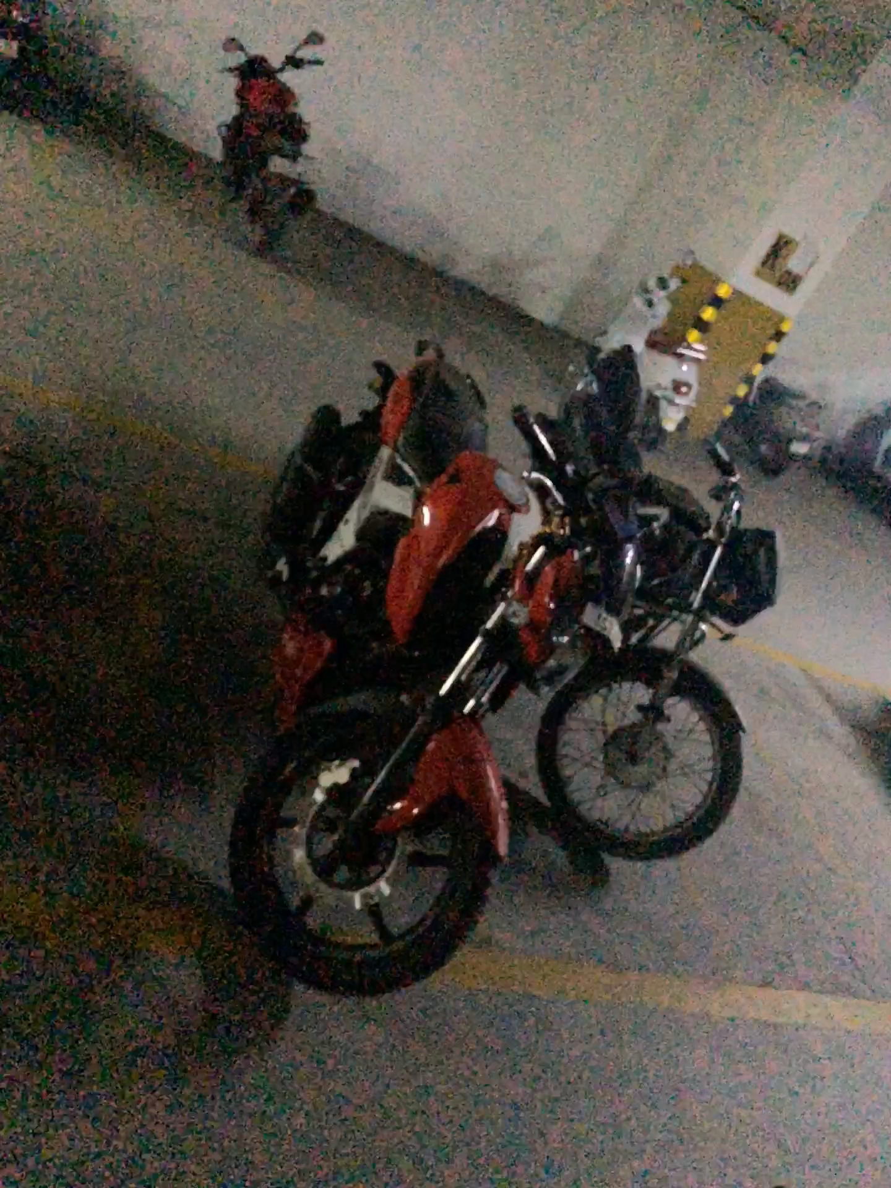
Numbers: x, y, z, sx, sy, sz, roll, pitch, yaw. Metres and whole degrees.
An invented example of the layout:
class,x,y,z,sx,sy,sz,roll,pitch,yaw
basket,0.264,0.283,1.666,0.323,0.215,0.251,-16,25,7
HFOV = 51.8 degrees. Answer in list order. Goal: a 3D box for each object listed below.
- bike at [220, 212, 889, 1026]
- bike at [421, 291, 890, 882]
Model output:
class,x,y,z,sx,sy,sz,roll,pitch,yaw
bike,0.064,-0.012,2.395,0.803,1.007,1.697,15,34,-31
bike,0.635,-0.087,2.952,0.675,0.934,1.569,15,33,-31
